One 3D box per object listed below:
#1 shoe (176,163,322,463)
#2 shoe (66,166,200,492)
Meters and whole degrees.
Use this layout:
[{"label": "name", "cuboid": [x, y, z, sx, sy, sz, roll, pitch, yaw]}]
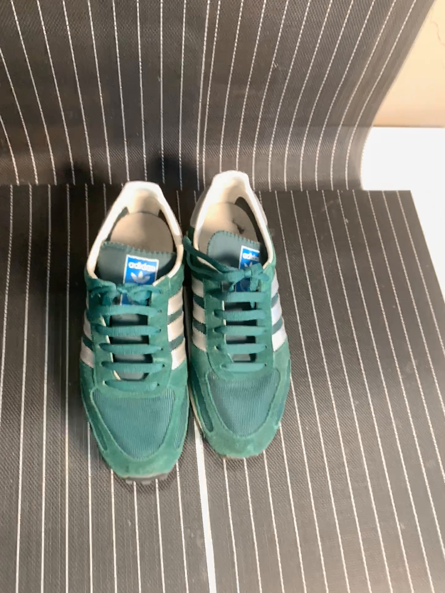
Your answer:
[{"label": "shoe", "cuboid": [0.012, 0.017, 0.471, 0.100, 0.120, 0.280, -1, 69, -9]}, {"label": "shoe", "cuboid": [-0.085, 0.024, 0.439, 0.100, 0.090, 0.290, -1, 69, -9]}]
